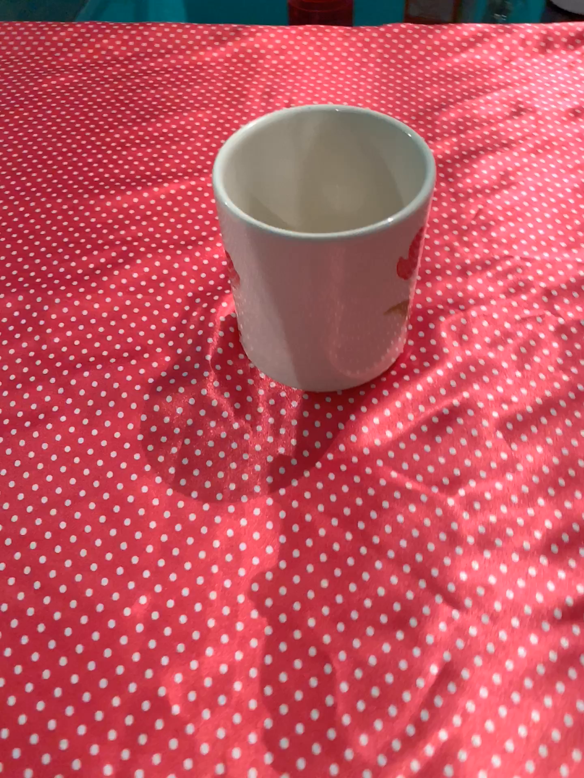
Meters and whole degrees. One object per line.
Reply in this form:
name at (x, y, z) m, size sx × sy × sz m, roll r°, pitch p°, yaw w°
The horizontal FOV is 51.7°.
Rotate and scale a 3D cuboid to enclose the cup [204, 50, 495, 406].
cup at (0.019, -0.068, 0.259) m, size 0.090 × 0.090 × 0.120 m, roll -1°, pitch 54°, yaw 2°
